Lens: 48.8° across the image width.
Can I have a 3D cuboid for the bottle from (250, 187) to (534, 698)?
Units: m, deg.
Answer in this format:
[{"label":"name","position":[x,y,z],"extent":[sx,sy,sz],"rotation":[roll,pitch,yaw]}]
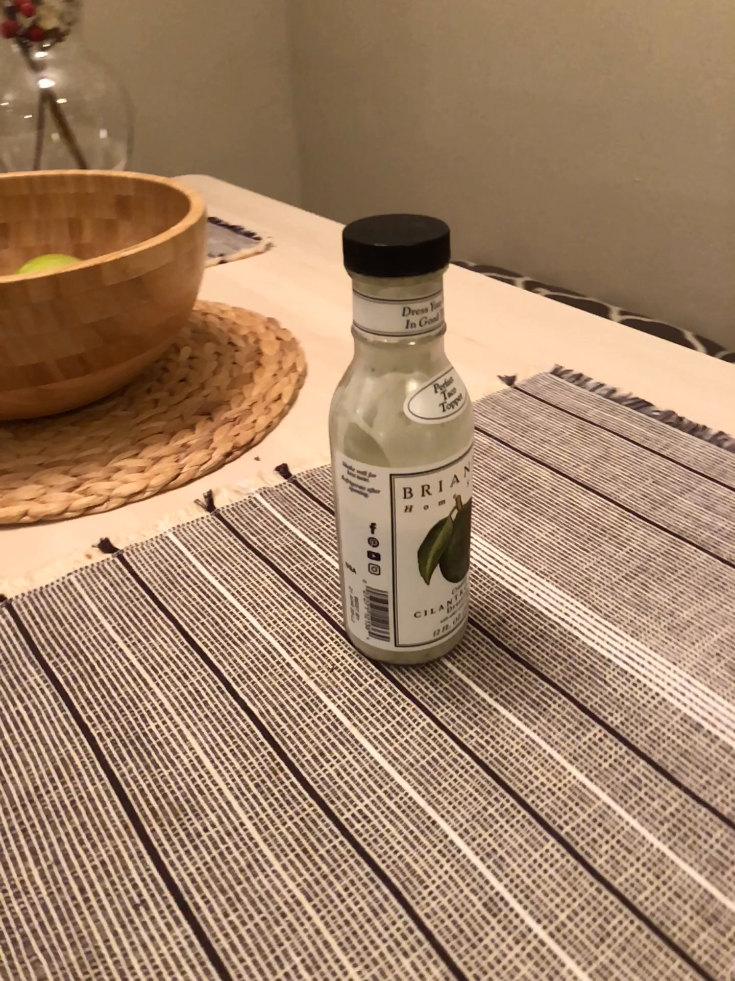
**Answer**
[{"label":"bottle","position":[0.013,-0.018,0.337],"extent":[0.070,0.186,0.075],"rotation":[-2,33,1]}]
